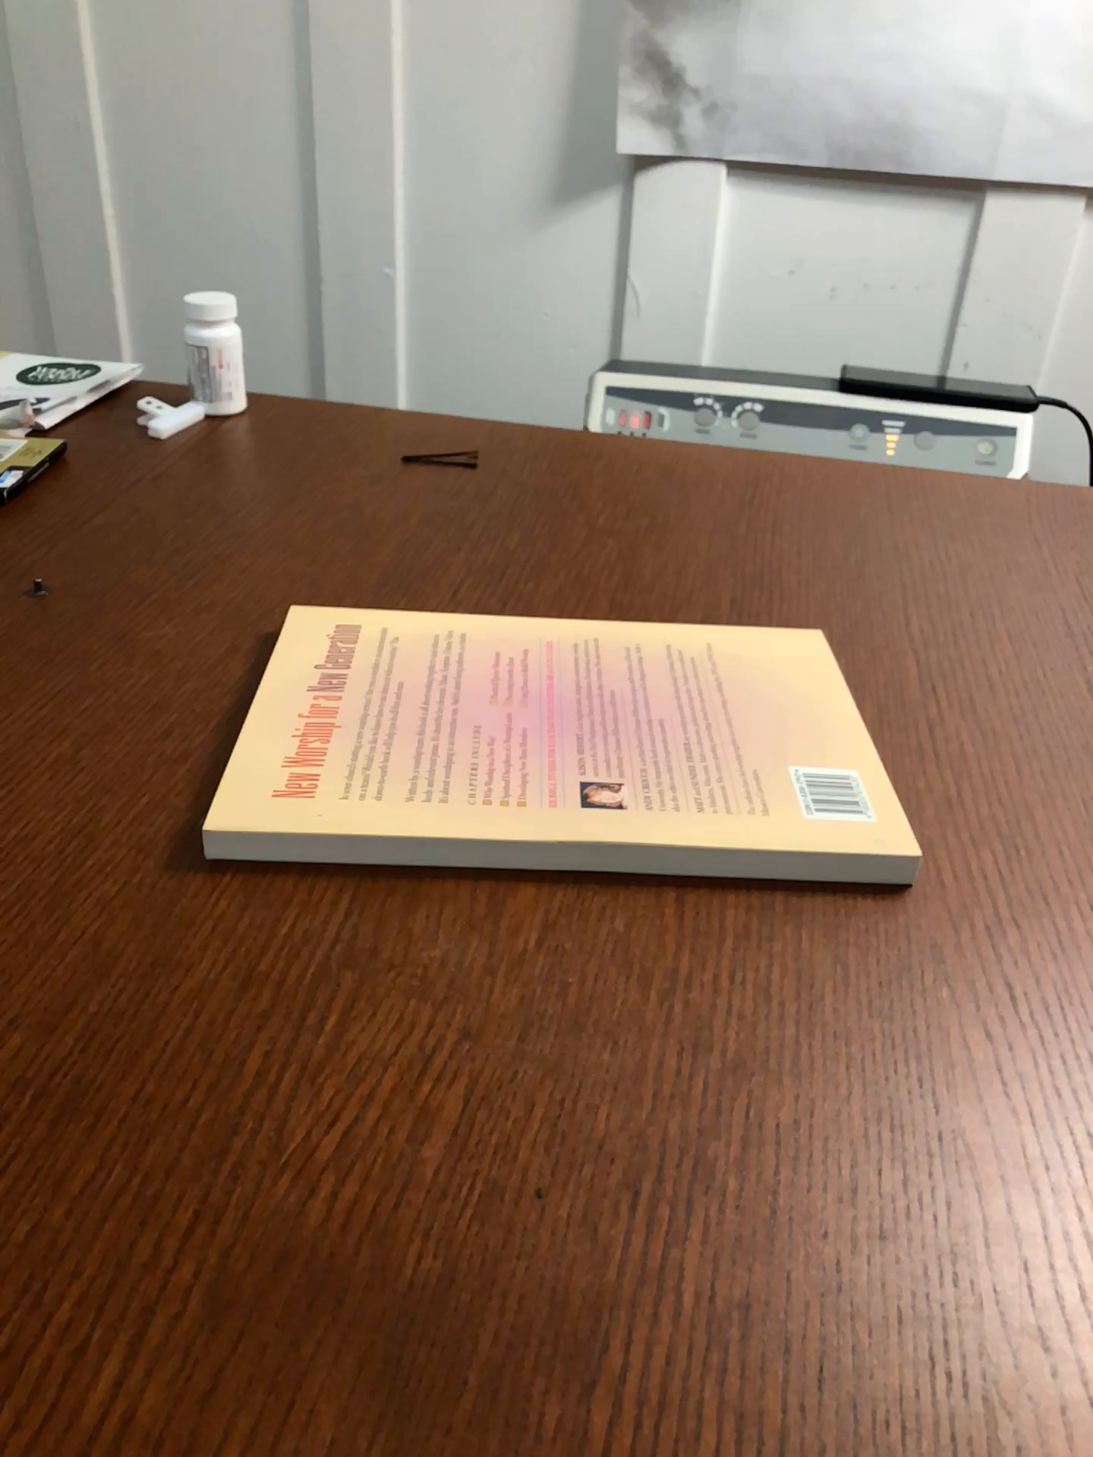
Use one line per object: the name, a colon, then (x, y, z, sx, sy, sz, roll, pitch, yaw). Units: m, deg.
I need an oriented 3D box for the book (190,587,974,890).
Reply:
book: (0.011, -0.004, 0.501, 0.270, 0.020, 0.191, 2, 31, -3)
